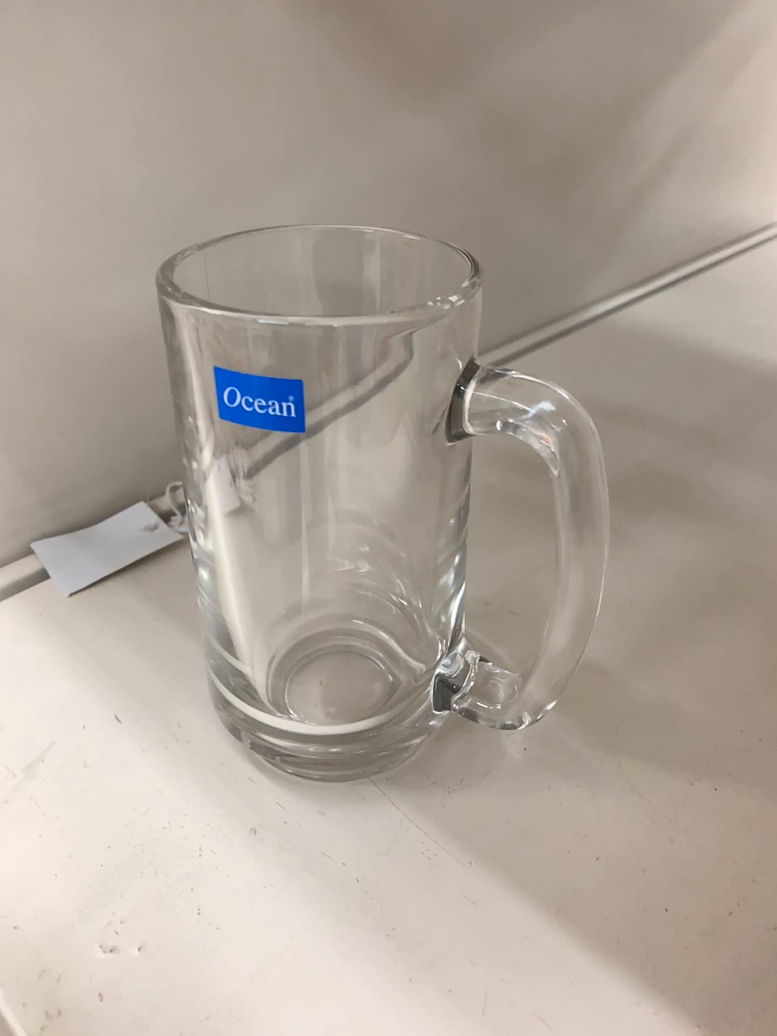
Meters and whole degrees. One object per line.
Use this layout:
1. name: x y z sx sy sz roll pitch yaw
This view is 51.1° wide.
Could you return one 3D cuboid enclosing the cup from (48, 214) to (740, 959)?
1. cup: 0.000 0.006 0.203 0.120 0.129 0.080 22 39 31
